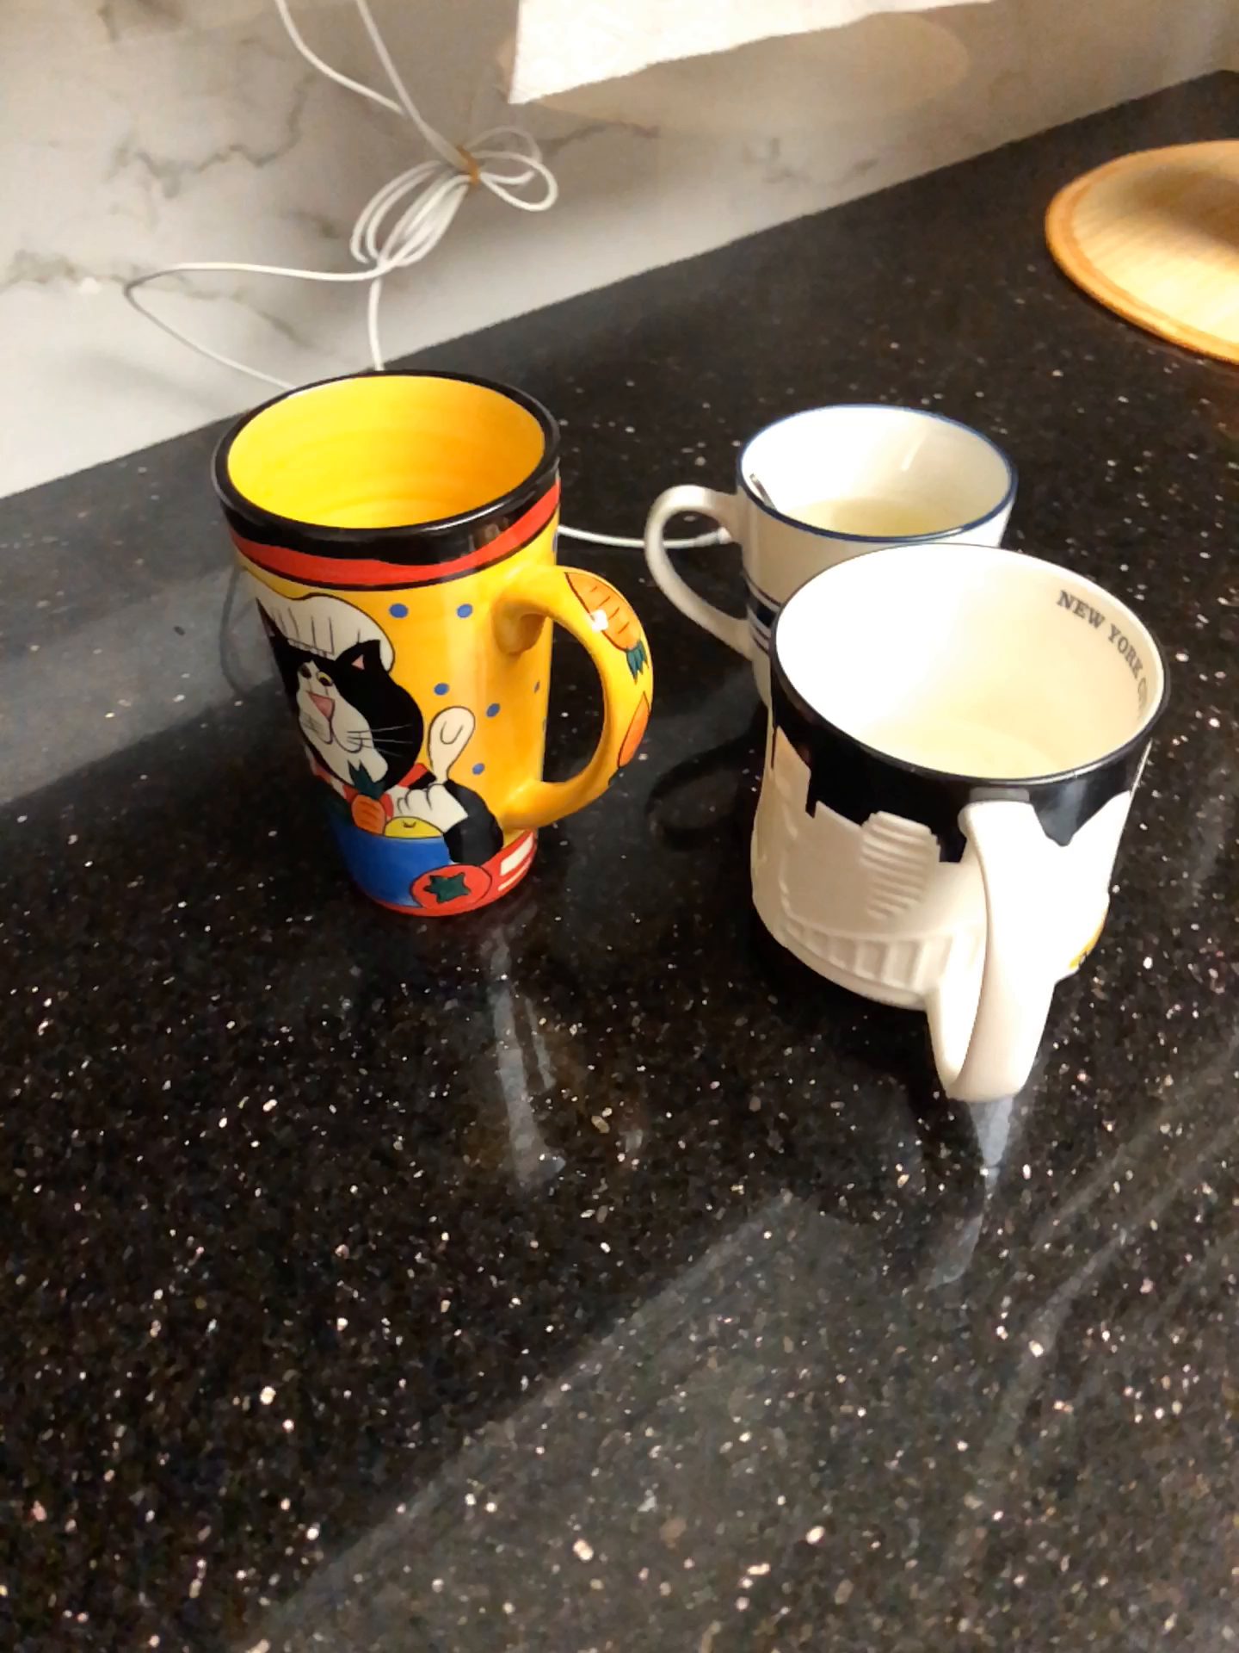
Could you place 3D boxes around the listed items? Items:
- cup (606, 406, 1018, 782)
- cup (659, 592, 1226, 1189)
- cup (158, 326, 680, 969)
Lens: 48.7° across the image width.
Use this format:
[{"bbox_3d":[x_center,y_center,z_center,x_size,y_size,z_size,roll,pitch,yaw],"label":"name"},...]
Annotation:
[{"bbox_3d":[0.064,-0.079,0.456,0.120,0.080,0.080,8,44,9],"label":"cup"},{"bbox_3d":[0.075,0.010,0.373,0.120,0.070,0.151,3,44,4],"label":"cup"},{"bbox_3d":[-0.048,-0.050,0.381,0.100,0.129,0.080,26,50,26],"label":"cup"}]
